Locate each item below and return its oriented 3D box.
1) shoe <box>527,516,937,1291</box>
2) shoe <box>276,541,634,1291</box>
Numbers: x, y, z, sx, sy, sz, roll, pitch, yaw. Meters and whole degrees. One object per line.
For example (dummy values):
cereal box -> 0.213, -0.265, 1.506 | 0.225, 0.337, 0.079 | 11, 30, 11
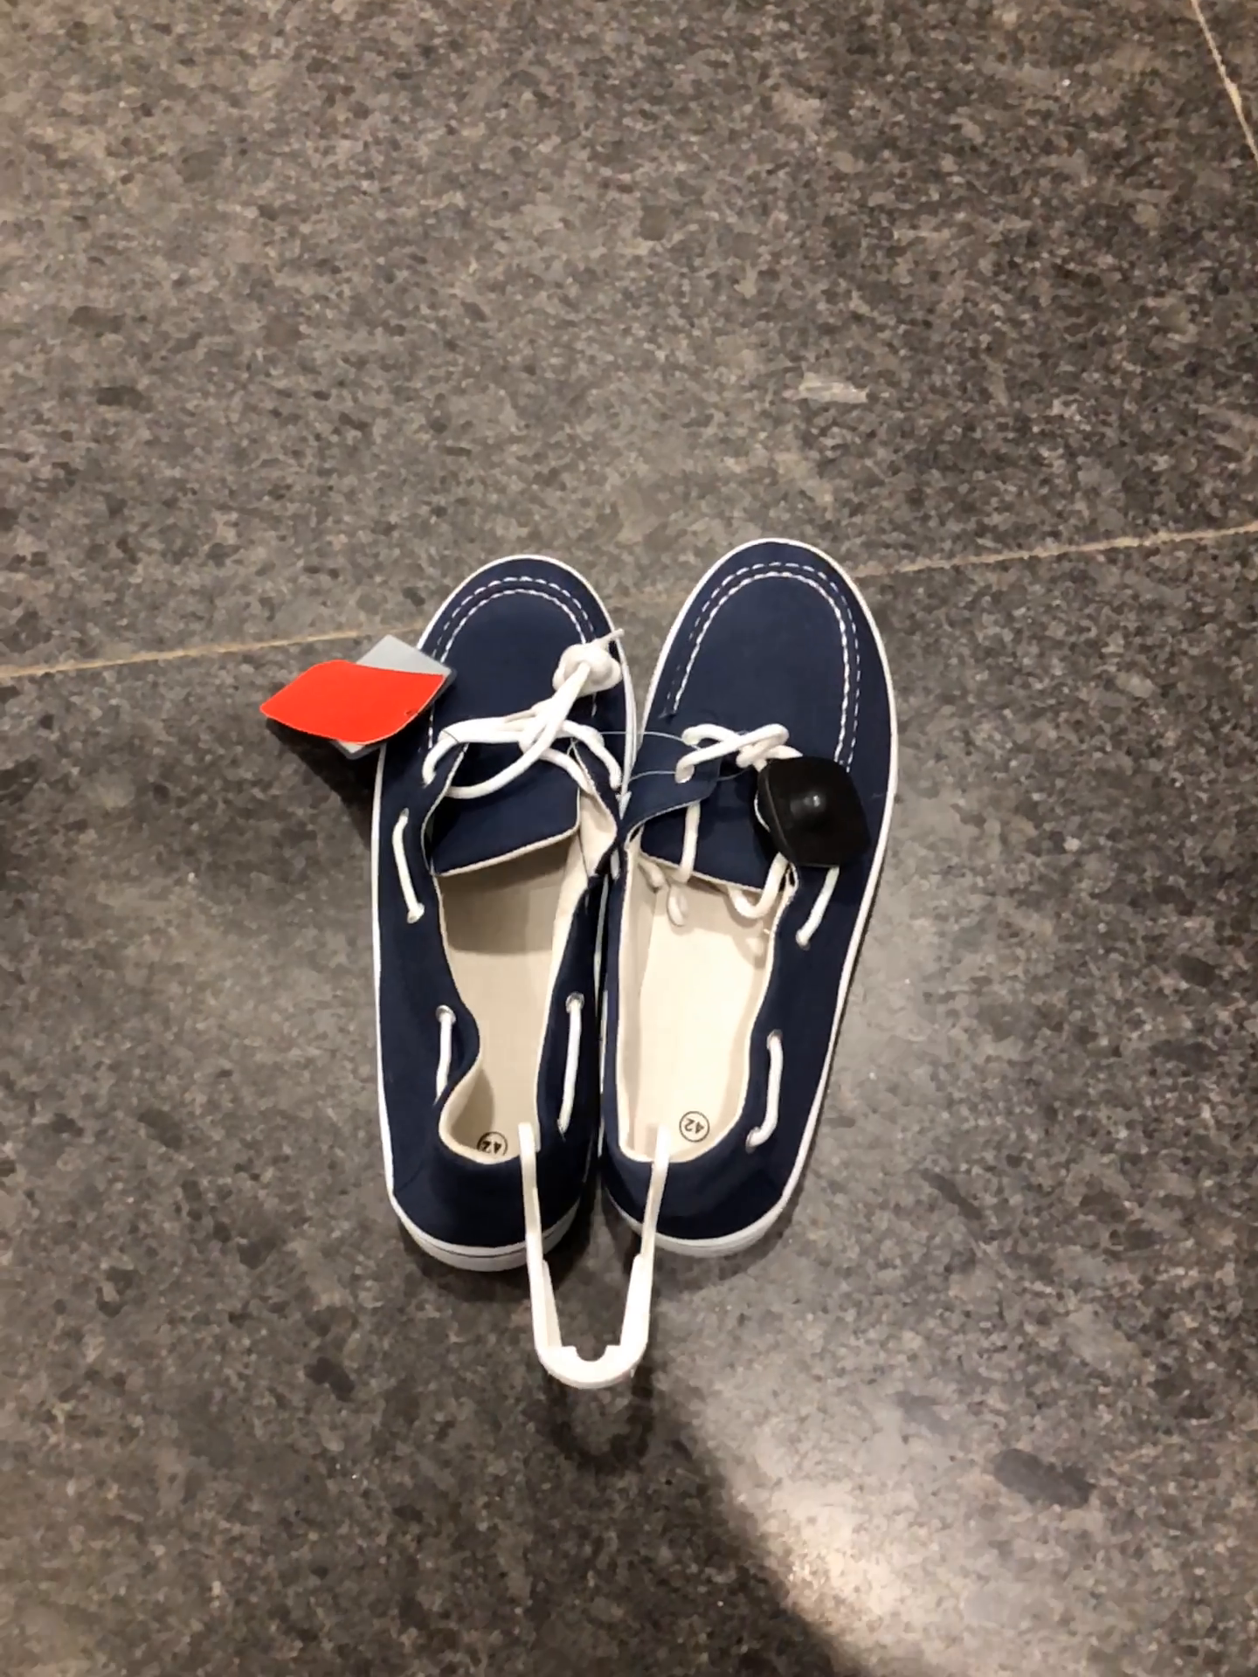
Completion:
shoe -> 0.042, 0.024, 0.508 | 0.096, 0.115, 0.247 | 9, 68, 6
shoe -> -0.051, 0.029, 0.506 | 0.096, 0.115, 0.249 | 1, 67, 2
